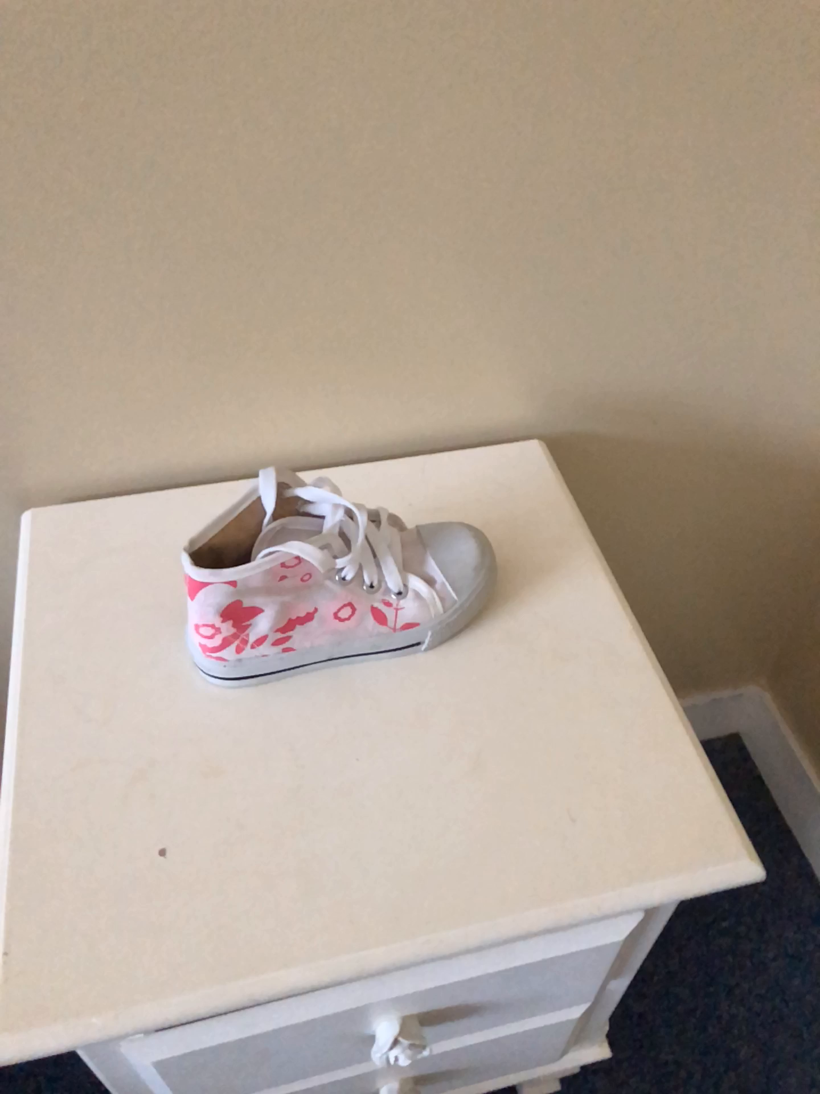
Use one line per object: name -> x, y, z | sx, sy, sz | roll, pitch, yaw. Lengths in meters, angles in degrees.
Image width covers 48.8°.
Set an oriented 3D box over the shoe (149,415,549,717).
shoe -> -0.033, 0.008, 0.500 | 0.190, 0.099, 0.080 | -13, 48, -14
